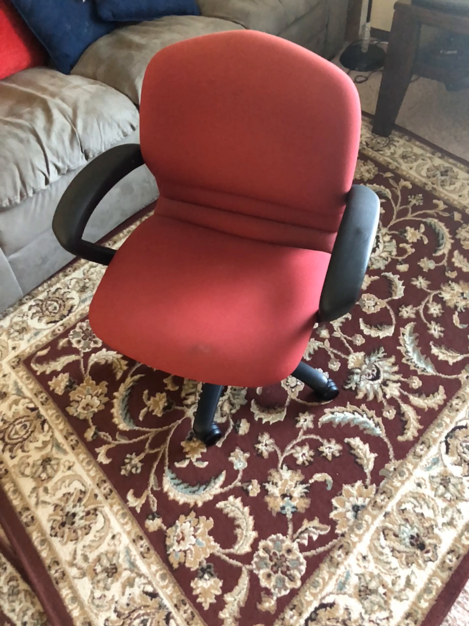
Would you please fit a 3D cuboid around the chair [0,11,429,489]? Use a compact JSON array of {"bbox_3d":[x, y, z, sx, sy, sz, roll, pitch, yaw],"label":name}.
[{"bbox_3d":[-0.031,-0.130,1.171,0.650,0.729,0.621,16,56,17],"label":"chair"}]
